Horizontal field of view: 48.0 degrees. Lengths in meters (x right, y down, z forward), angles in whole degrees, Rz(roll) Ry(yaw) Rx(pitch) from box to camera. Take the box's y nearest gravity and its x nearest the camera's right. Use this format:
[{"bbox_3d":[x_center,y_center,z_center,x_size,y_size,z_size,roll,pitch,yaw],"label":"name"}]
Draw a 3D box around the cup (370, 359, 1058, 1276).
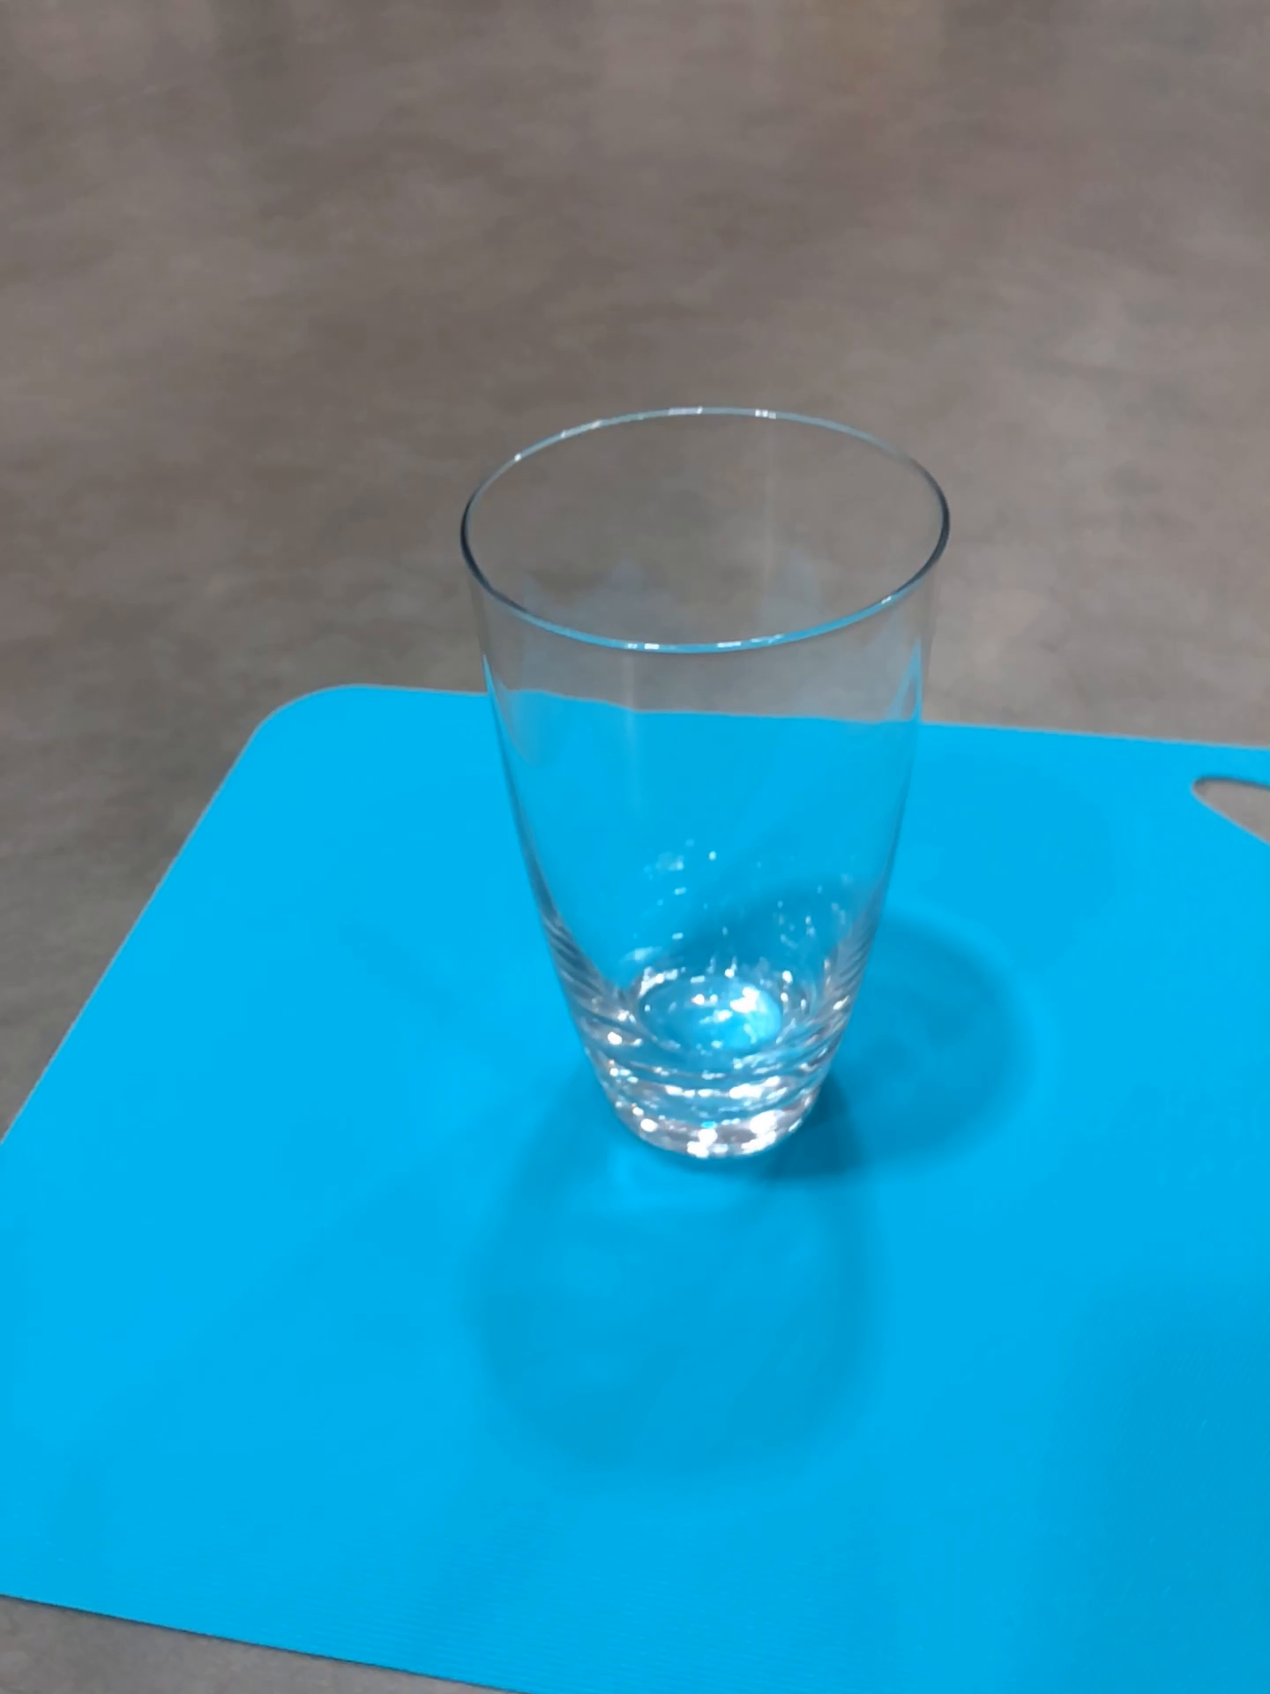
[{"bbox_3d":[0.013,-0.005,0.321,0.100,0.159,0.100,-2,40,2],"label":"cup"}]
